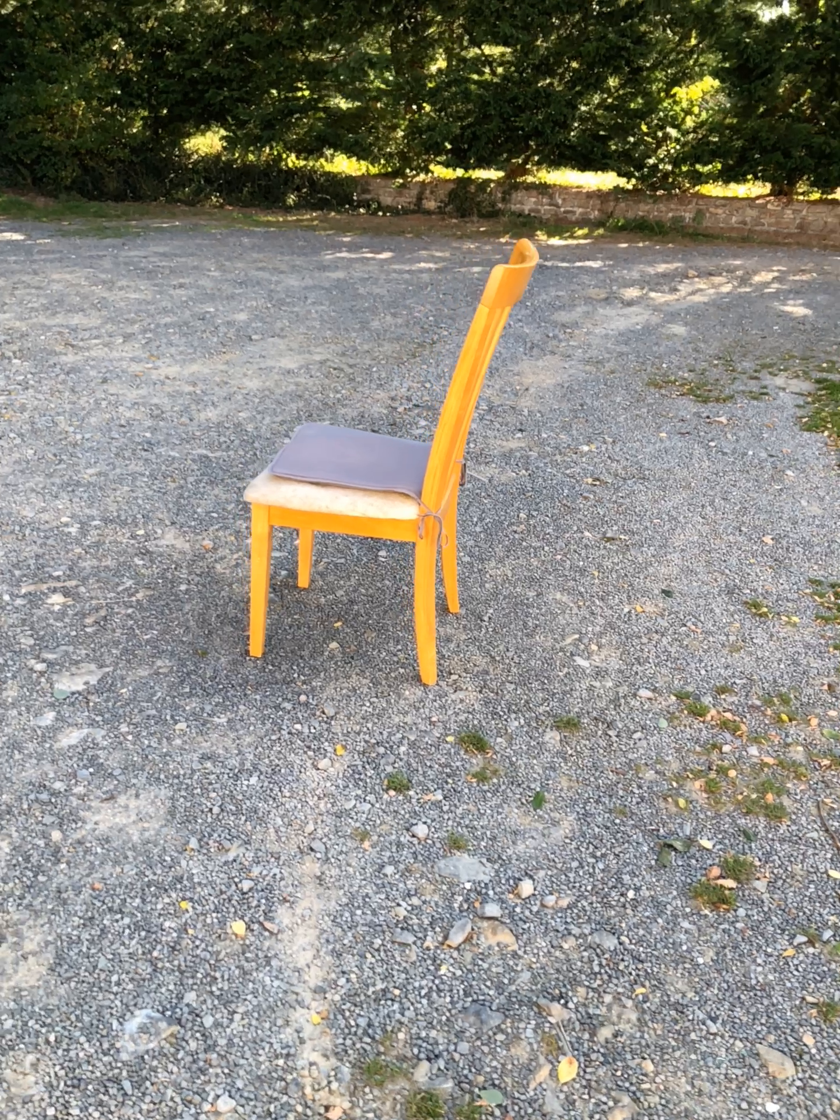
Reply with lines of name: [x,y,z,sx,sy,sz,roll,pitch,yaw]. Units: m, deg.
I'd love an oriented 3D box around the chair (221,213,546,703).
chair: [-0.071,-0.254,2.208,0.610,0.994,0.513,7,28,7]
